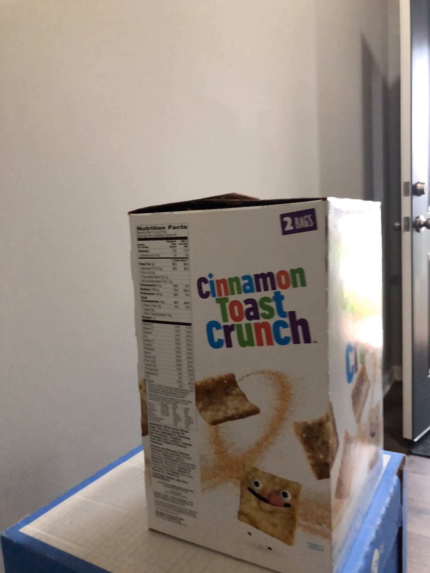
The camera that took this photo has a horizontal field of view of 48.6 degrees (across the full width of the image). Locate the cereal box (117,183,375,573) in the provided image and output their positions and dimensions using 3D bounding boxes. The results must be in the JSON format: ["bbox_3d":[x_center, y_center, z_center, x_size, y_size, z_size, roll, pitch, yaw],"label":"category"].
[{"bbox_3d":[0.047,0.069,0.468,0.170,0.310,0.200,1,8,29],"label":"cereal box"}]
